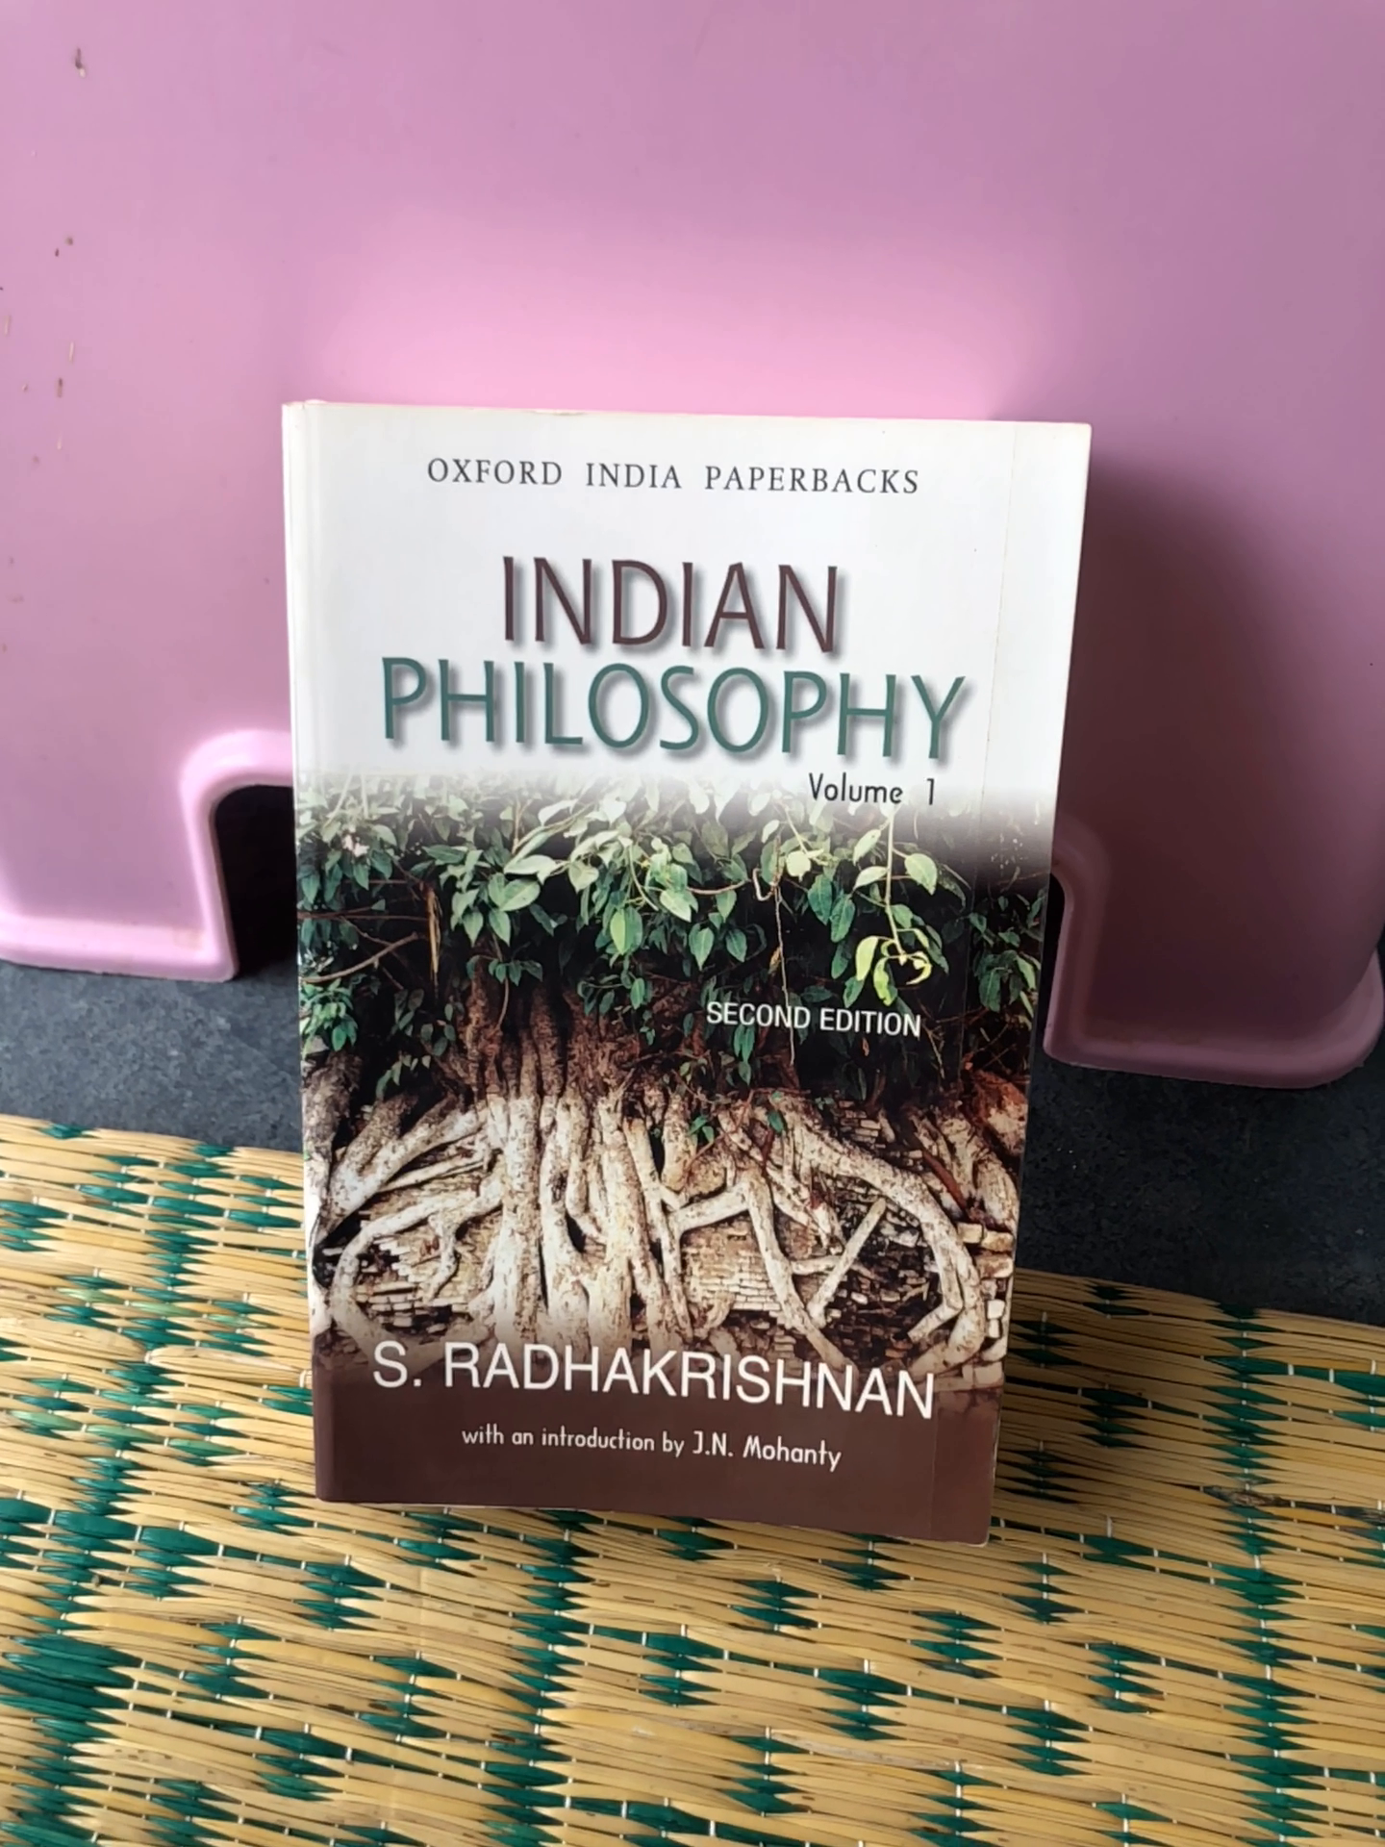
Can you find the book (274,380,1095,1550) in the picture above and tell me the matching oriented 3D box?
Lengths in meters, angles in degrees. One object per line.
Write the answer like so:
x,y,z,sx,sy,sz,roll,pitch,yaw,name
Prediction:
-0.005,0.008,0.315,0.140,0.210,0.070,3,9,1,book
